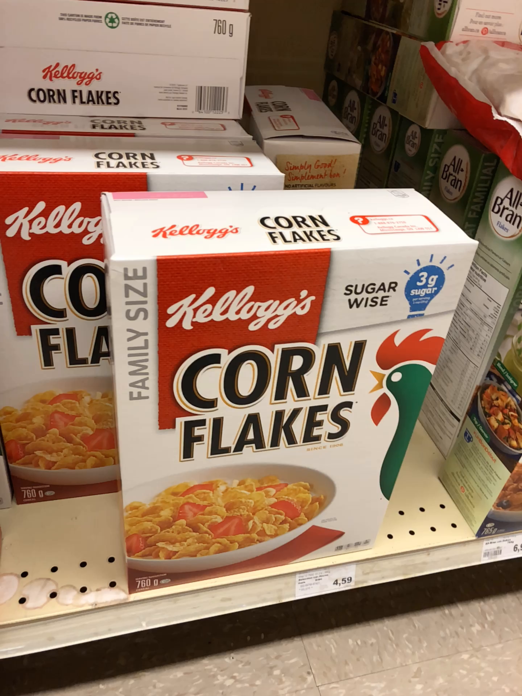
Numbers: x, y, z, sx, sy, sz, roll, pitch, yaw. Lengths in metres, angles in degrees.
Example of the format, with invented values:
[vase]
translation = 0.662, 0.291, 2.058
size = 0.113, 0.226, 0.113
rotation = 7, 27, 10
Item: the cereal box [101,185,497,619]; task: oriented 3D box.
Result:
[cereal box]
translation = 0.010, 0.061, 0.524
size = 0.270, 0.387, 0.101
rotation = -6, 36, -17
